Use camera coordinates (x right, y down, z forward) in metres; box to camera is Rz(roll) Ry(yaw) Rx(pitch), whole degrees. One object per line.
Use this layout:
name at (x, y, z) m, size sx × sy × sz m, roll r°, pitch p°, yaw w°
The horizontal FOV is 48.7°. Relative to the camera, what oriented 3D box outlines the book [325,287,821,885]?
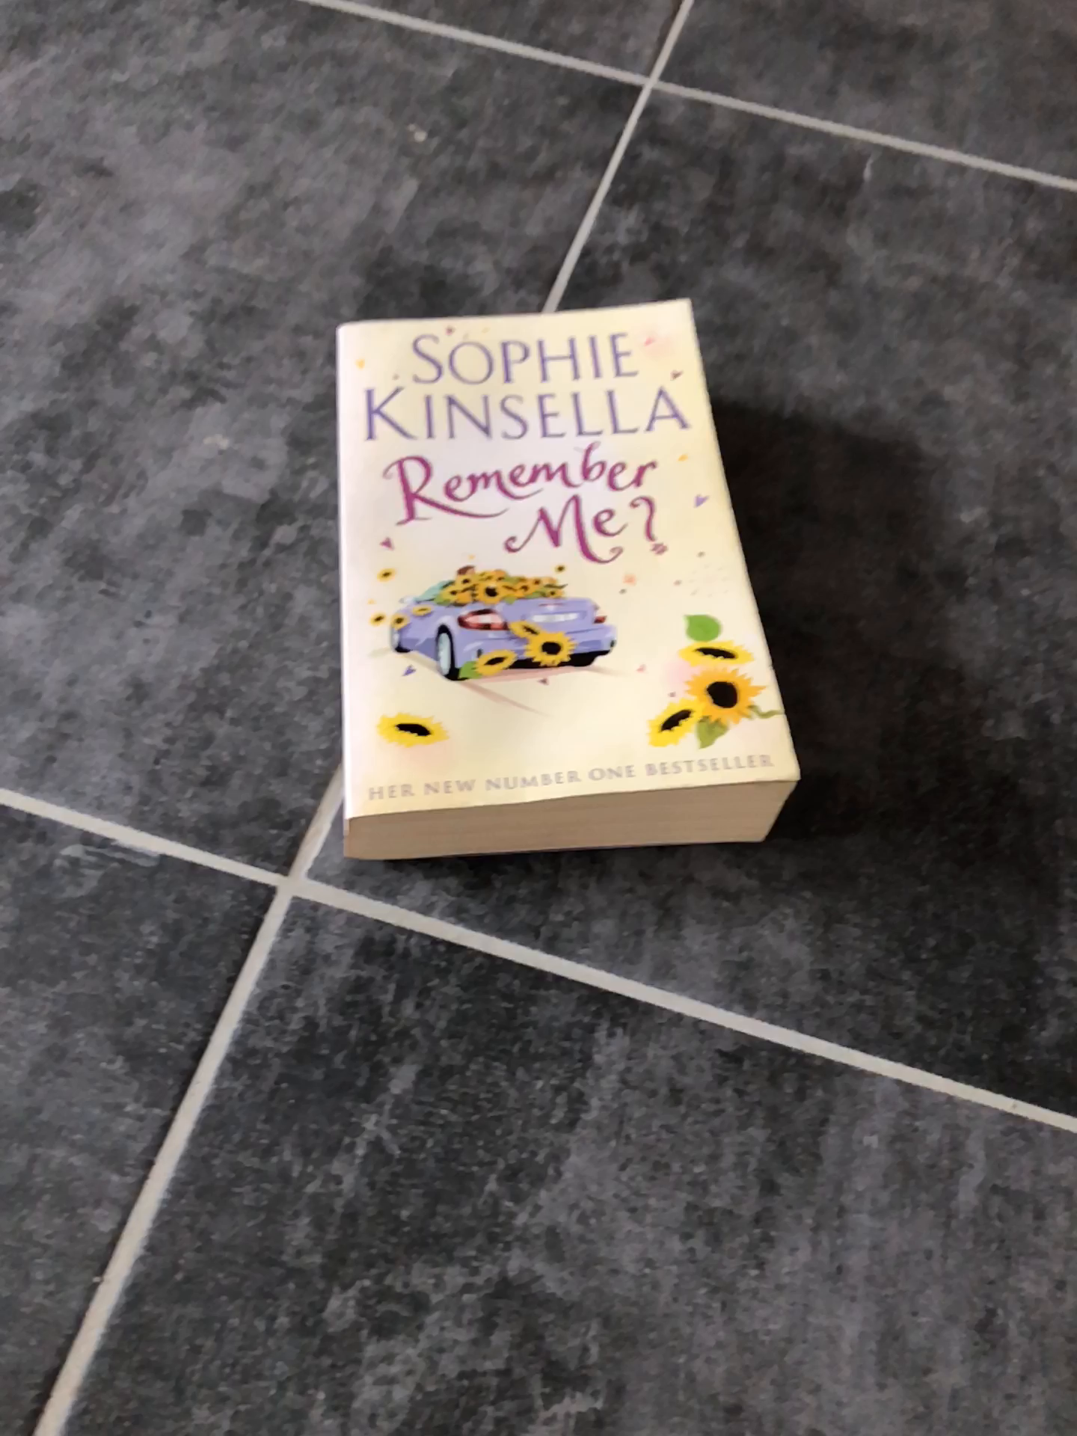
book at (0.001, -0.052, 0.380) m, size 0.130 × 0.040 × 0.201 m, roll -4°, pitch 58°, yaw -3°
